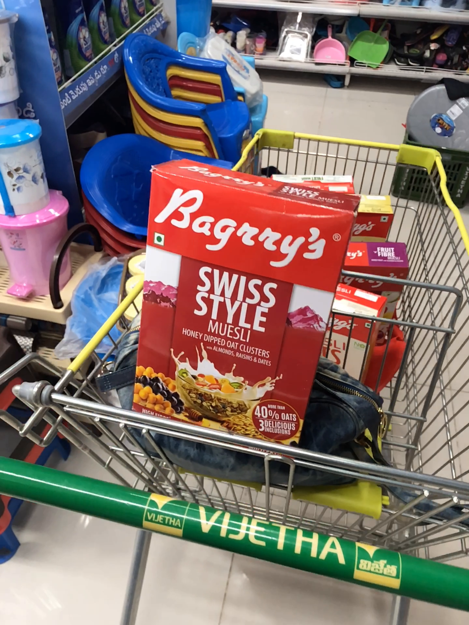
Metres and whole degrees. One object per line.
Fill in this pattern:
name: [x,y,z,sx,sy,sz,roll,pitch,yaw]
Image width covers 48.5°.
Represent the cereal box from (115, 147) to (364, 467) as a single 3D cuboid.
cereal box: [-0.005,-0.007,0.500,0.190,0.259,0.070,15,23,15]
